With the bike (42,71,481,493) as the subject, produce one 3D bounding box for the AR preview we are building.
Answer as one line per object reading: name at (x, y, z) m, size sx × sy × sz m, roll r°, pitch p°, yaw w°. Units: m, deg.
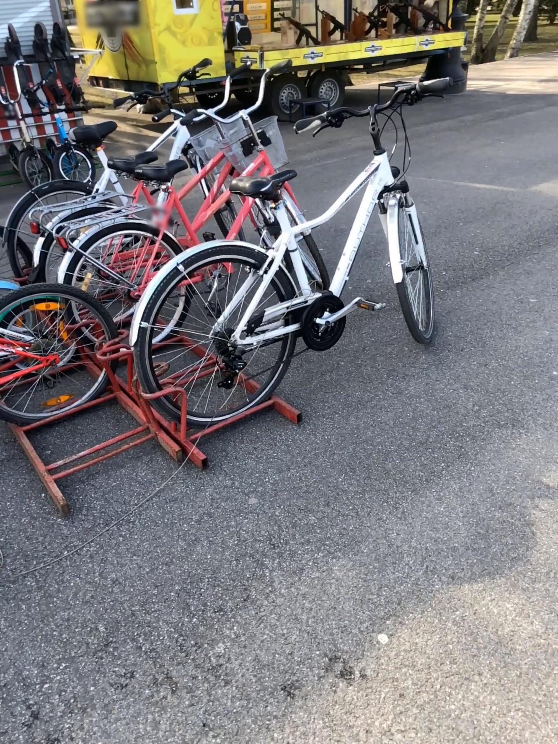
bike at (0.063, -0.525, 2.519) m, size 1.701 × 1.112 × 0.646 m, roll -29°, pitch 40°, yaw -36°
